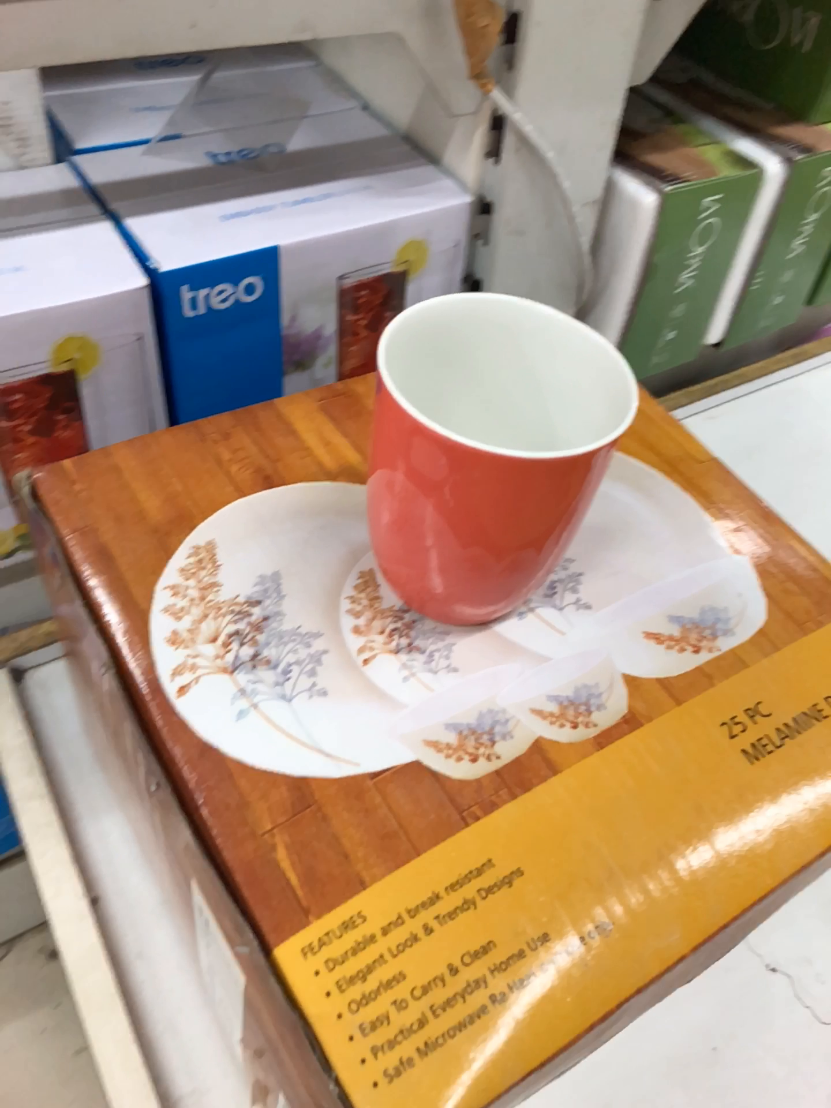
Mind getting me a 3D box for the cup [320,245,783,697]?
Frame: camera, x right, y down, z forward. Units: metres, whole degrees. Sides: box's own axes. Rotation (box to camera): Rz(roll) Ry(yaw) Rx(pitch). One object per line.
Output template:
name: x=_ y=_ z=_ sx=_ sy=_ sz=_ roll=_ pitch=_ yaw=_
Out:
cup: x=0.040 y=-0.033 z=0.333 sx=0.120 sy=0.099 sz=0.090 roll=-20 pitch=53 yaw=-23
